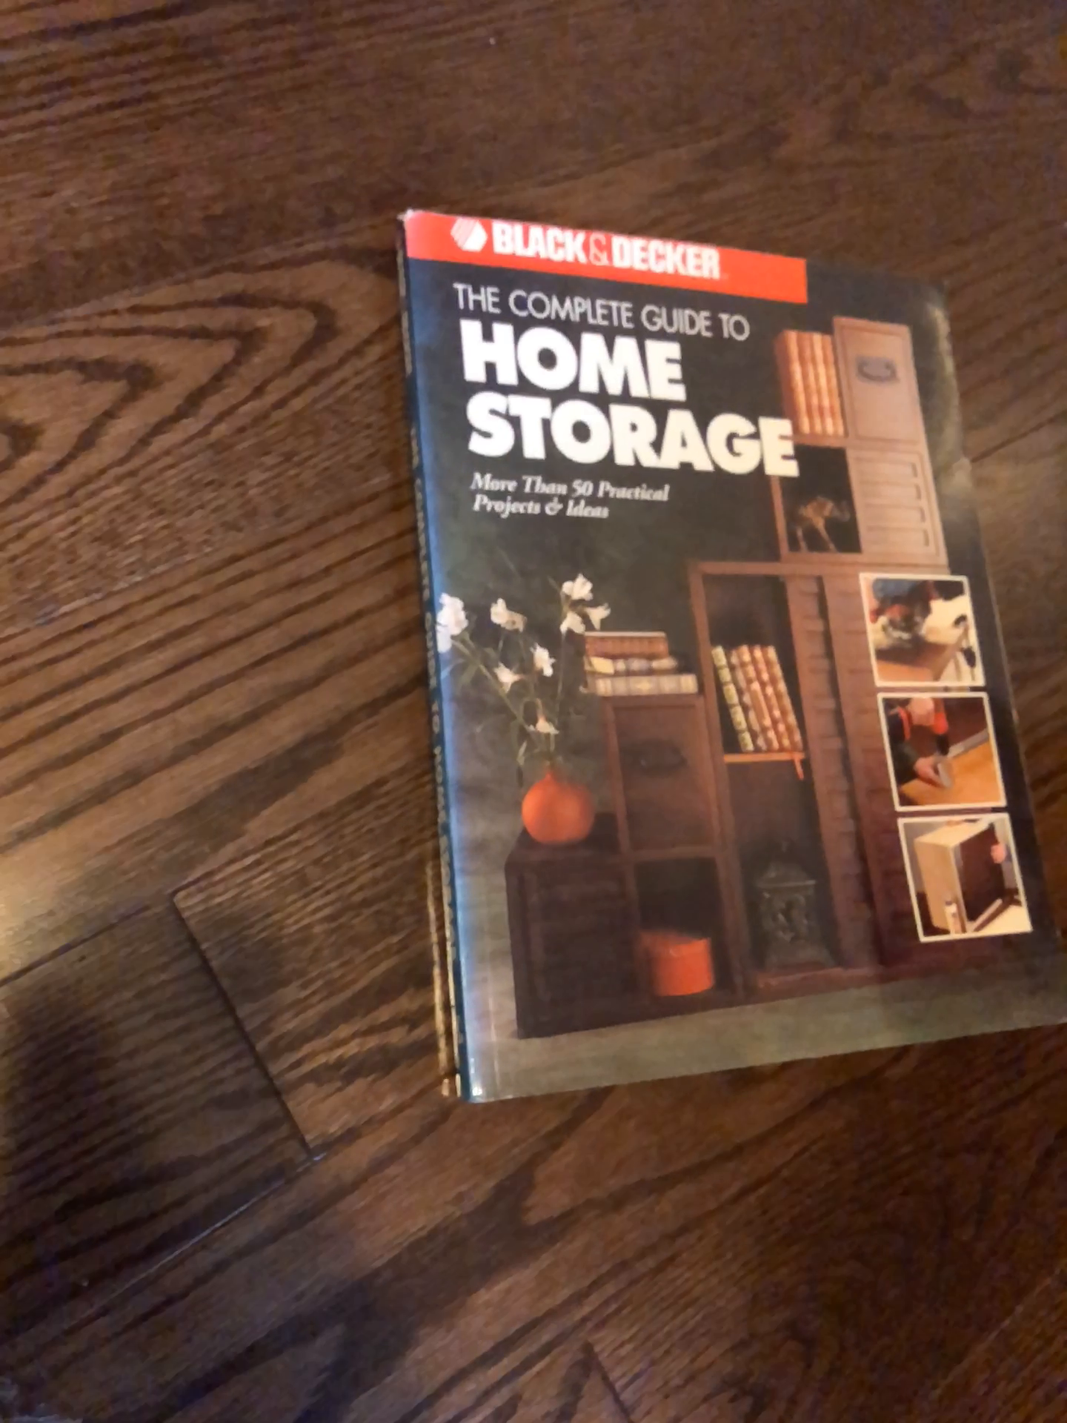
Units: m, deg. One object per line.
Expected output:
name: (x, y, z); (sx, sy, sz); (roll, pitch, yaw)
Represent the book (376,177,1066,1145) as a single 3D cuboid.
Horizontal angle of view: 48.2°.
book: (0.066, -0.025, 0.388); (0.215, 0.020, 0.287); (-1, 77, -21)
